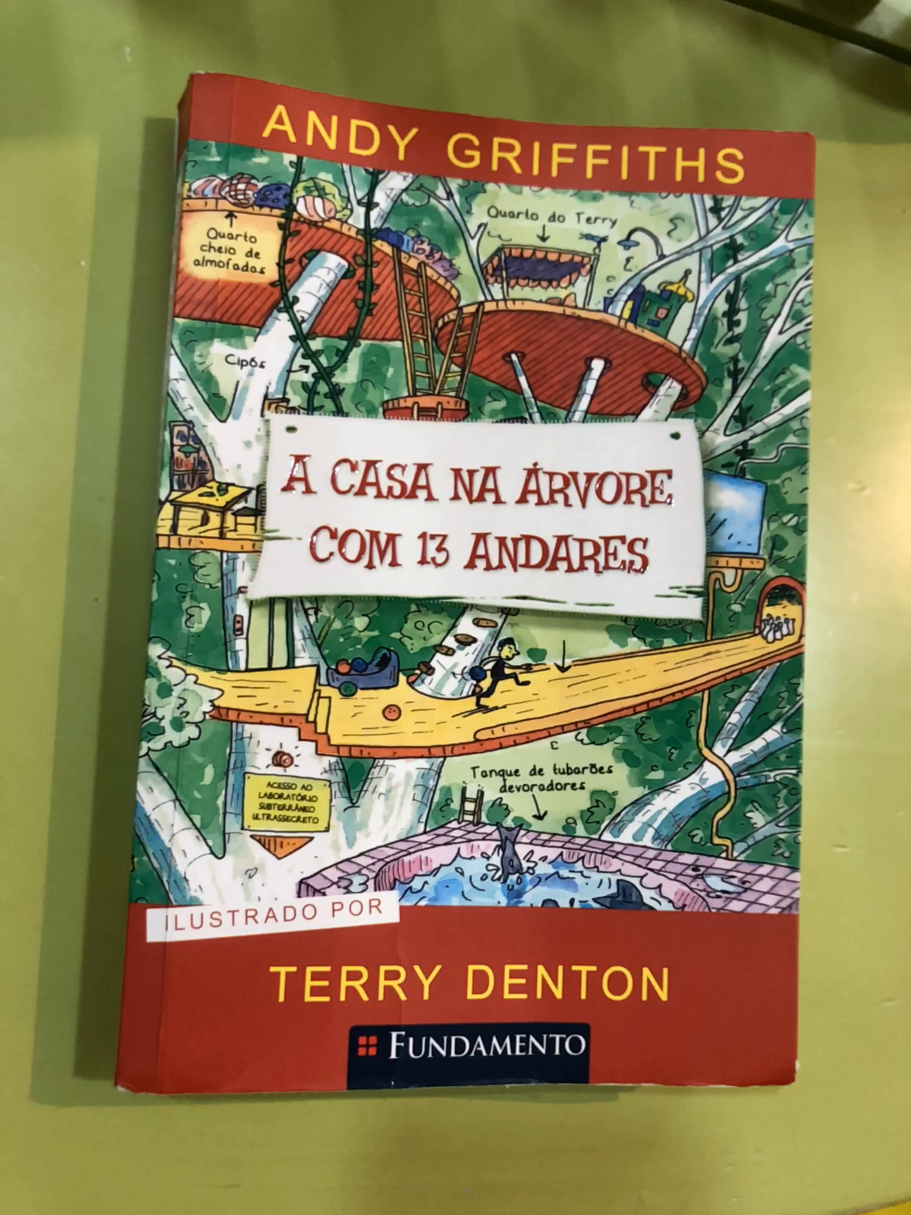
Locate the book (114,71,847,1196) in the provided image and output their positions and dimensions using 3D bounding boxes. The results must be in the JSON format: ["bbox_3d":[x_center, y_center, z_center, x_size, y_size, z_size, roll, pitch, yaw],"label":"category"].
[{"bbox_3d":[0.009,0.004,0.220,0.137,0.040,0.210,3,84,-8],"label":"book"}]
